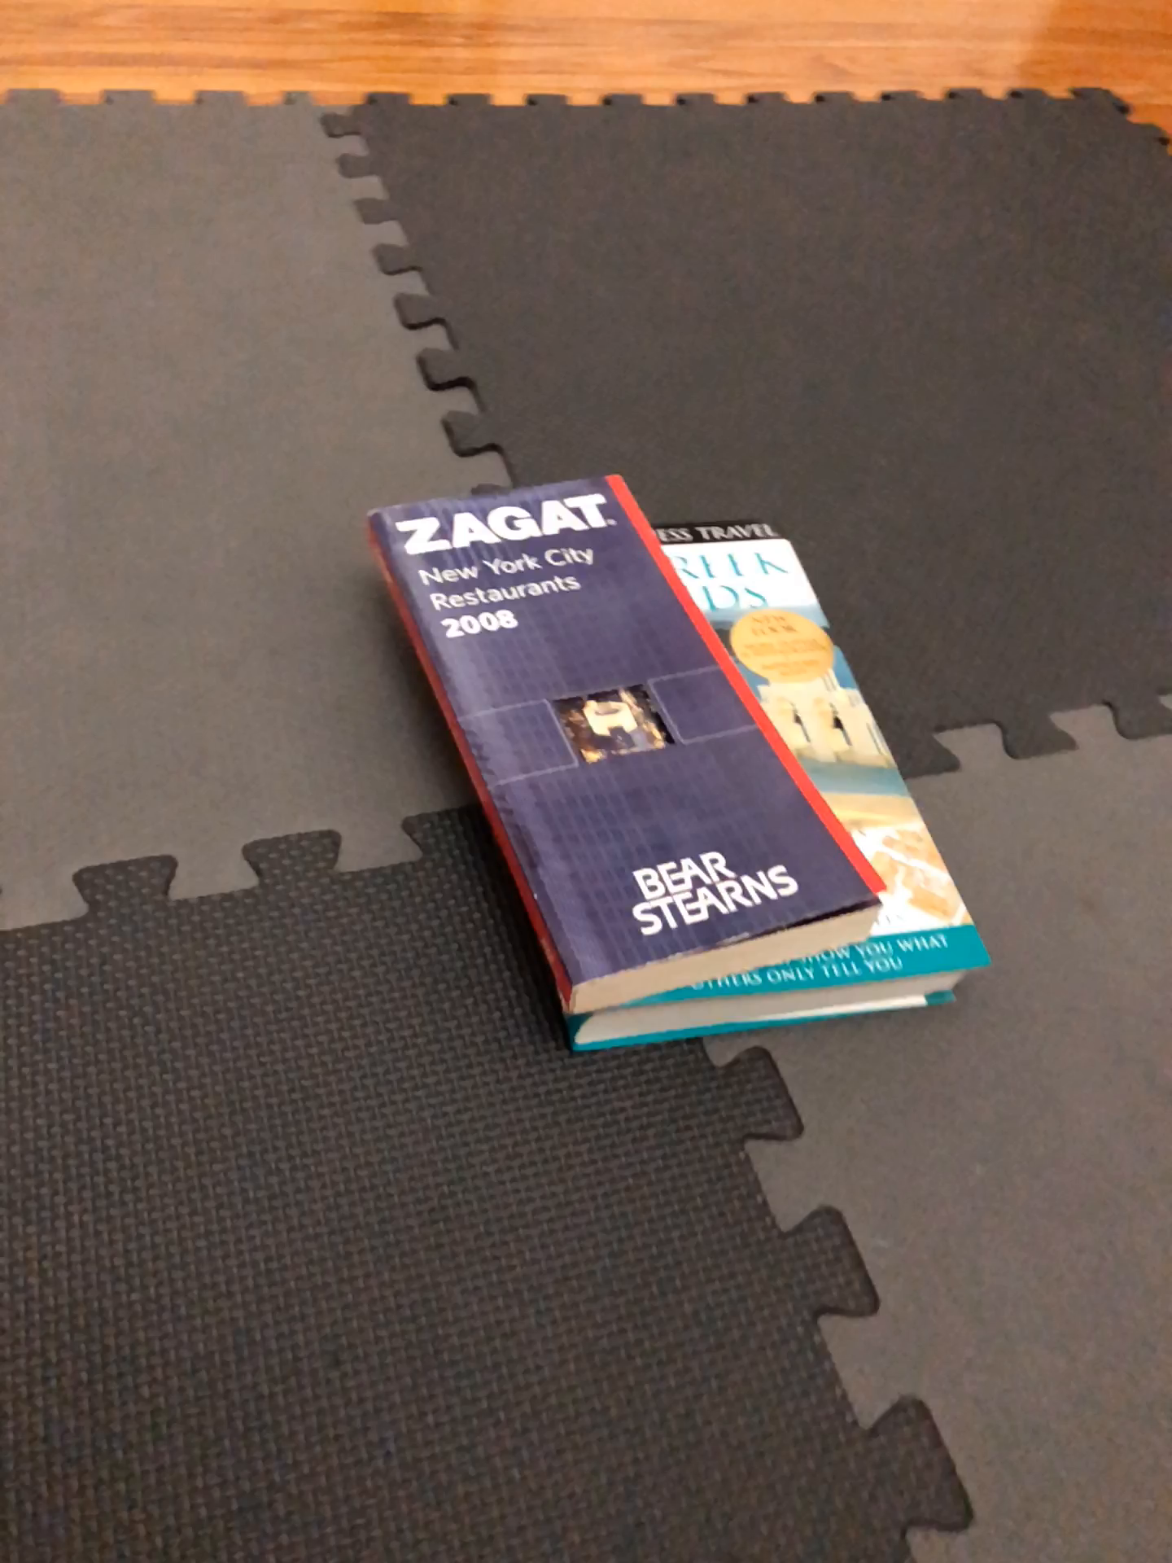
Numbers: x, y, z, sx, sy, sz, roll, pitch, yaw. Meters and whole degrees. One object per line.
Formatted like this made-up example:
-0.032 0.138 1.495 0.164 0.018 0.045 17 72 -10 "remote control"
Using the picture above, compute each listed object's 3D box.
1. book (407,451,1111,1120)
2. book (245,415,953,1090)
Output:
0.041 -0.022 0.450 0.170 0.030 0.261 -6 51 -14 "book"
-0.010 -0.033 0.428 0.150 0.020 0.251 -13 53 -19 "book"
